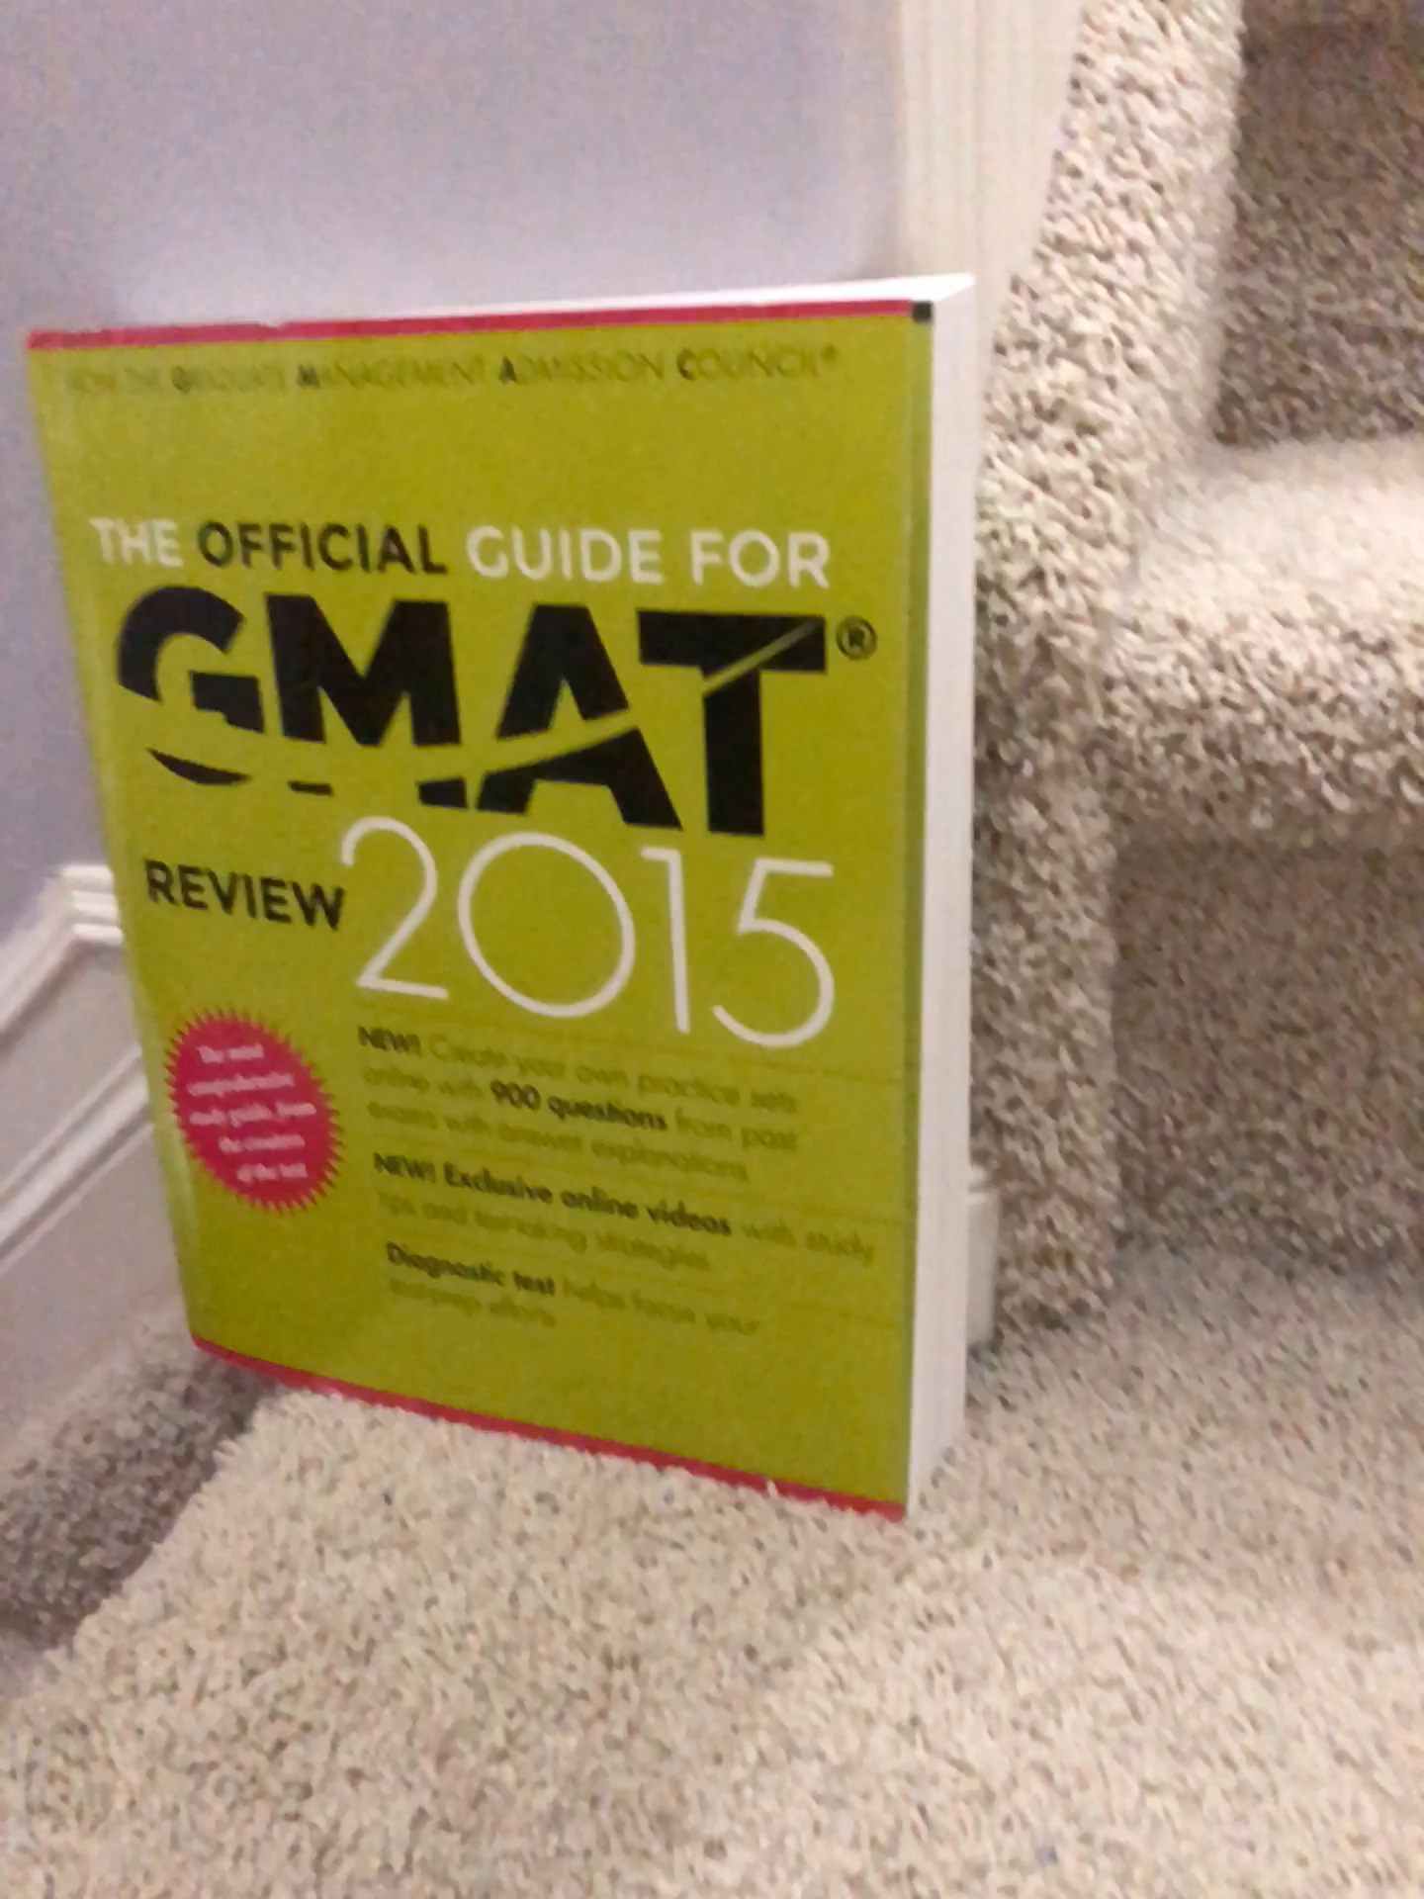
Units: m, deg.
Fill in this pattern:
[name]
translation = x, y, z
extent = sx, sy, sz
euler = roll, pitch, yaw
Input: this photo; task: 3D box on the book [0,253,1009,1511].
[book]
translation = -0.050, -0.013, 0.392
extent = 0.236, 0.277, 0.040
euler = 5, 21, 22
